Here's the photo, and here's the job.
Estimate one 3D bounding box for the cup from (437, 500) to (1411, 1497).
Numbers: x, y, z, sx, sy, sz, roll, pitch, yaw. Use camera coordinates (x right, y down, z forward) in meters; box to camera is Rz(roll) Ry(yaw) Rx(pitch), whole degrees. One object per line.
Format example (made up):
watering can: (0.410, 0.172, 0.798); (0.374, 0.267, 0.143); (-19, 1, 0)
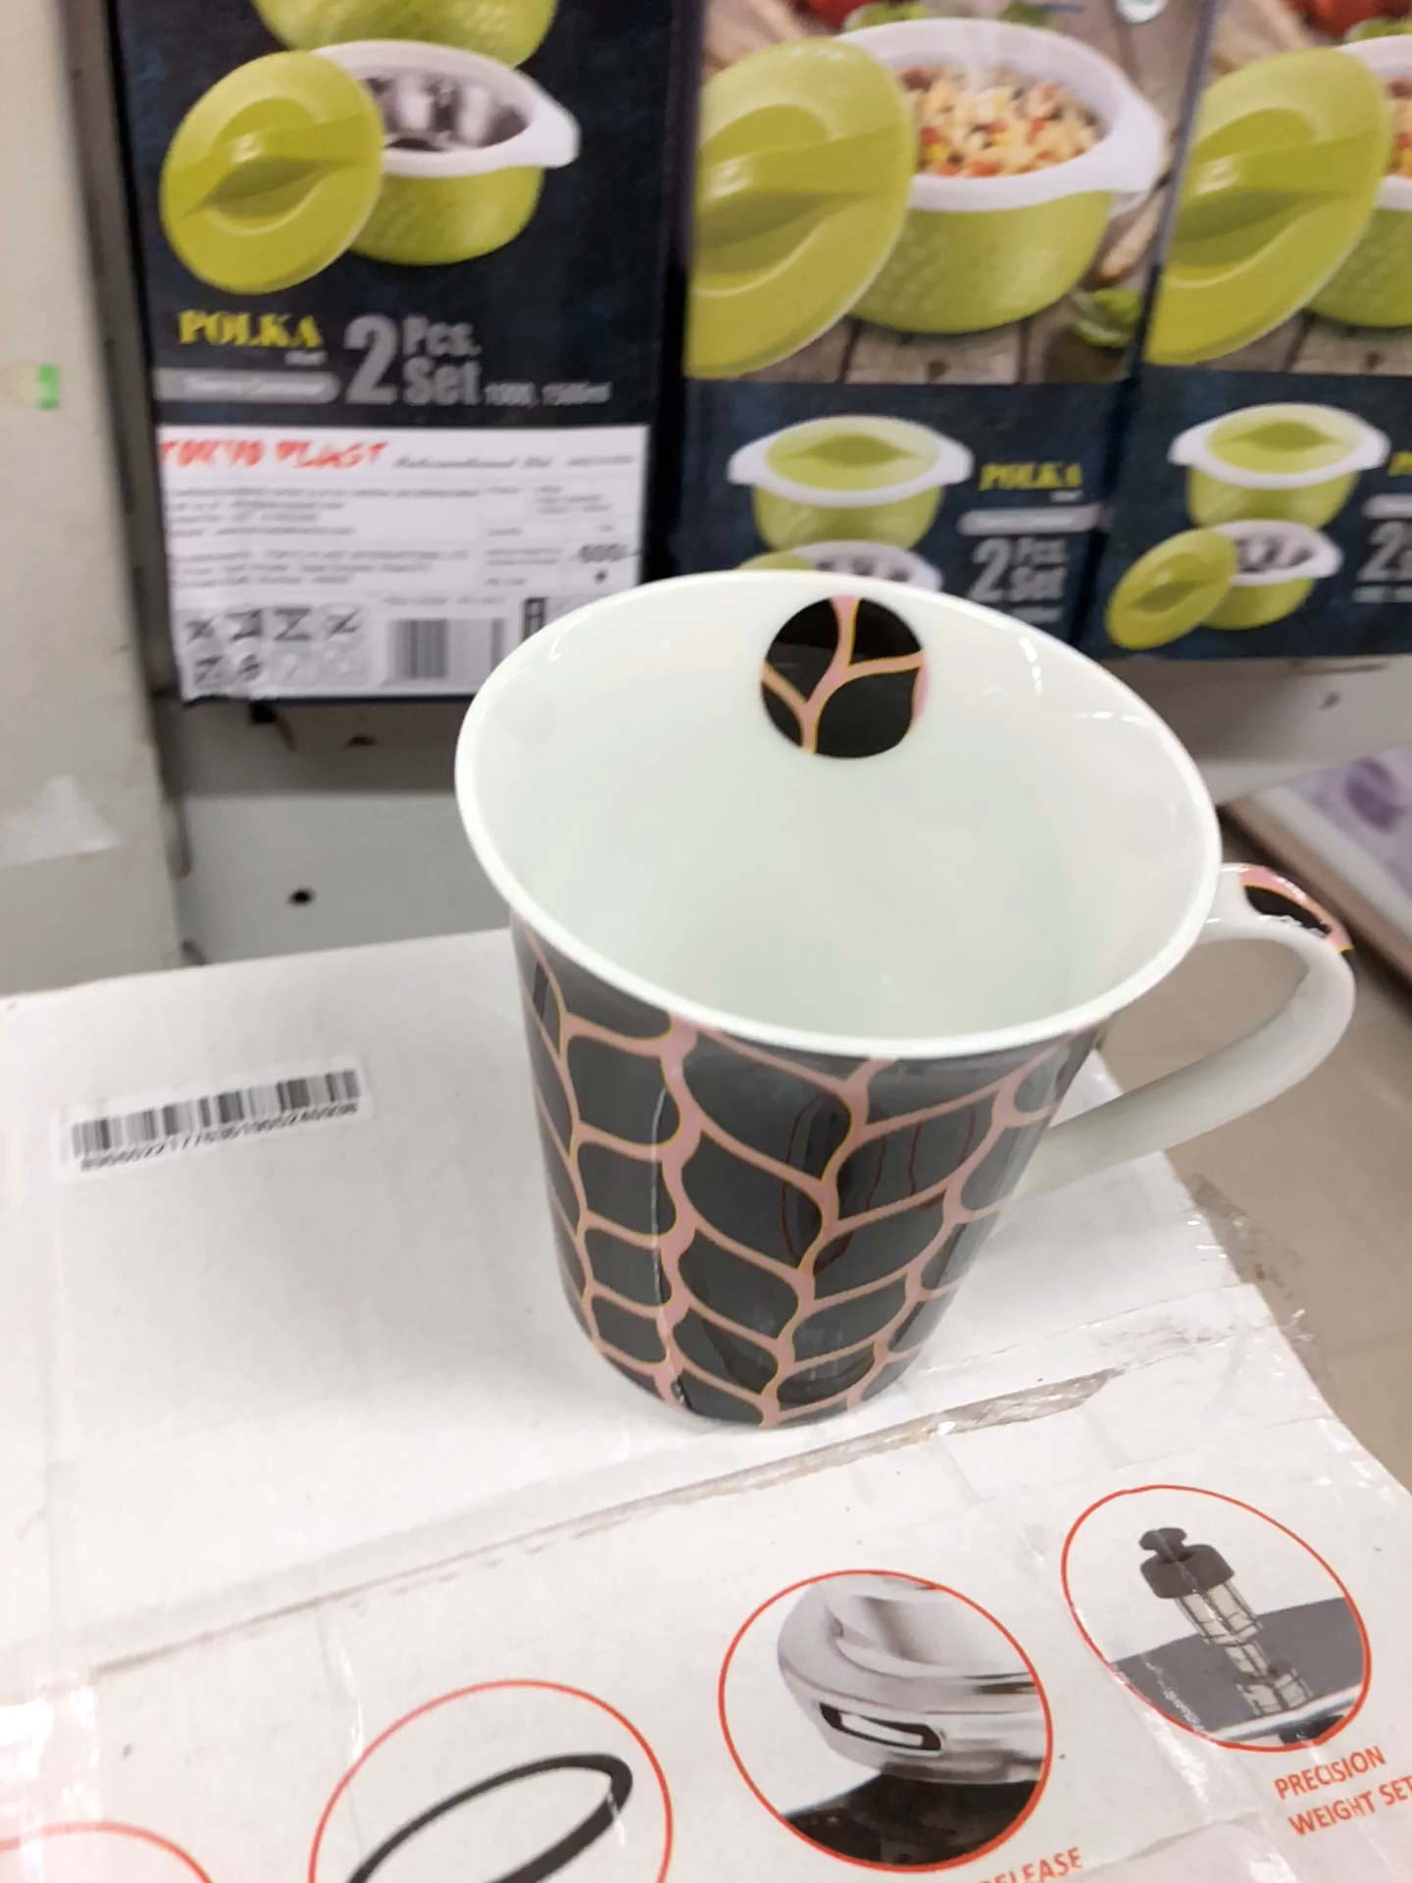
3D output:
cup: (0.027, 0.005, 0.195); (0.110, 0.079, 0.091); (1, 40, -5)
